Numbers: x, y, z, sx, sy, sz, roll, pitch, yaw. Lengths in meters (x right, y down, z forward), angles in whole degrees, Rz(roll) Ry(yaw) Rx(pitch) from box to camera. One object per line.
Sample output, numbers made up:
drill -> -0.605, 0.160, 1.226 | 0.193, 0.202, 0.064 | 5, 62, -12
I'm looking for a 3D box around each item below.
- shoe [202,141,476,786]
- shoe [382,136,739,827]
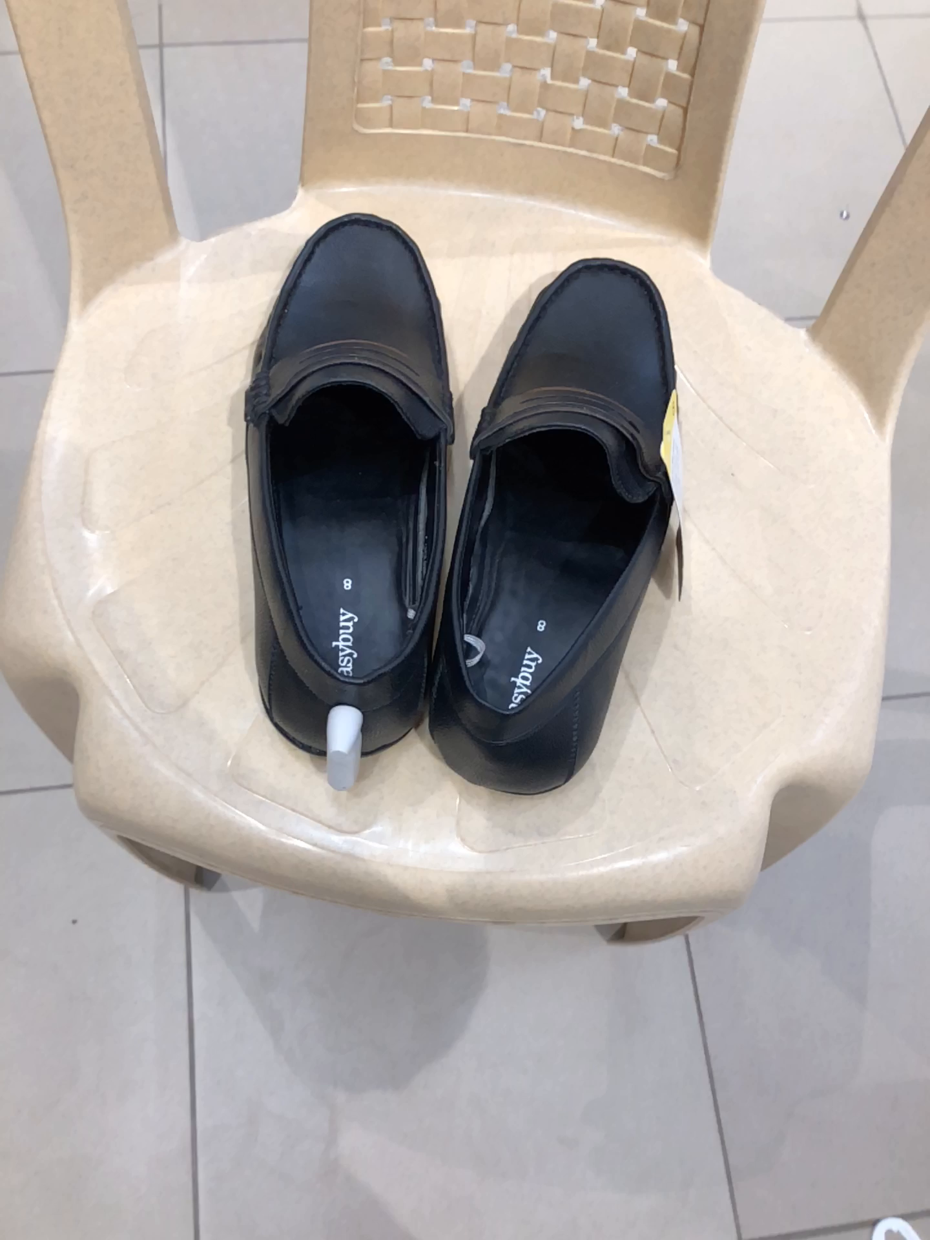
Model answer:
shoe -> -0.050, -0.070, 0.461 | 0.100, 0.088, 0.276 | 0, 71, -3
shoe -> 0.045, -0.063, 0.459 | 0.100, 0.088, 0.283 | 12, 71, 1
